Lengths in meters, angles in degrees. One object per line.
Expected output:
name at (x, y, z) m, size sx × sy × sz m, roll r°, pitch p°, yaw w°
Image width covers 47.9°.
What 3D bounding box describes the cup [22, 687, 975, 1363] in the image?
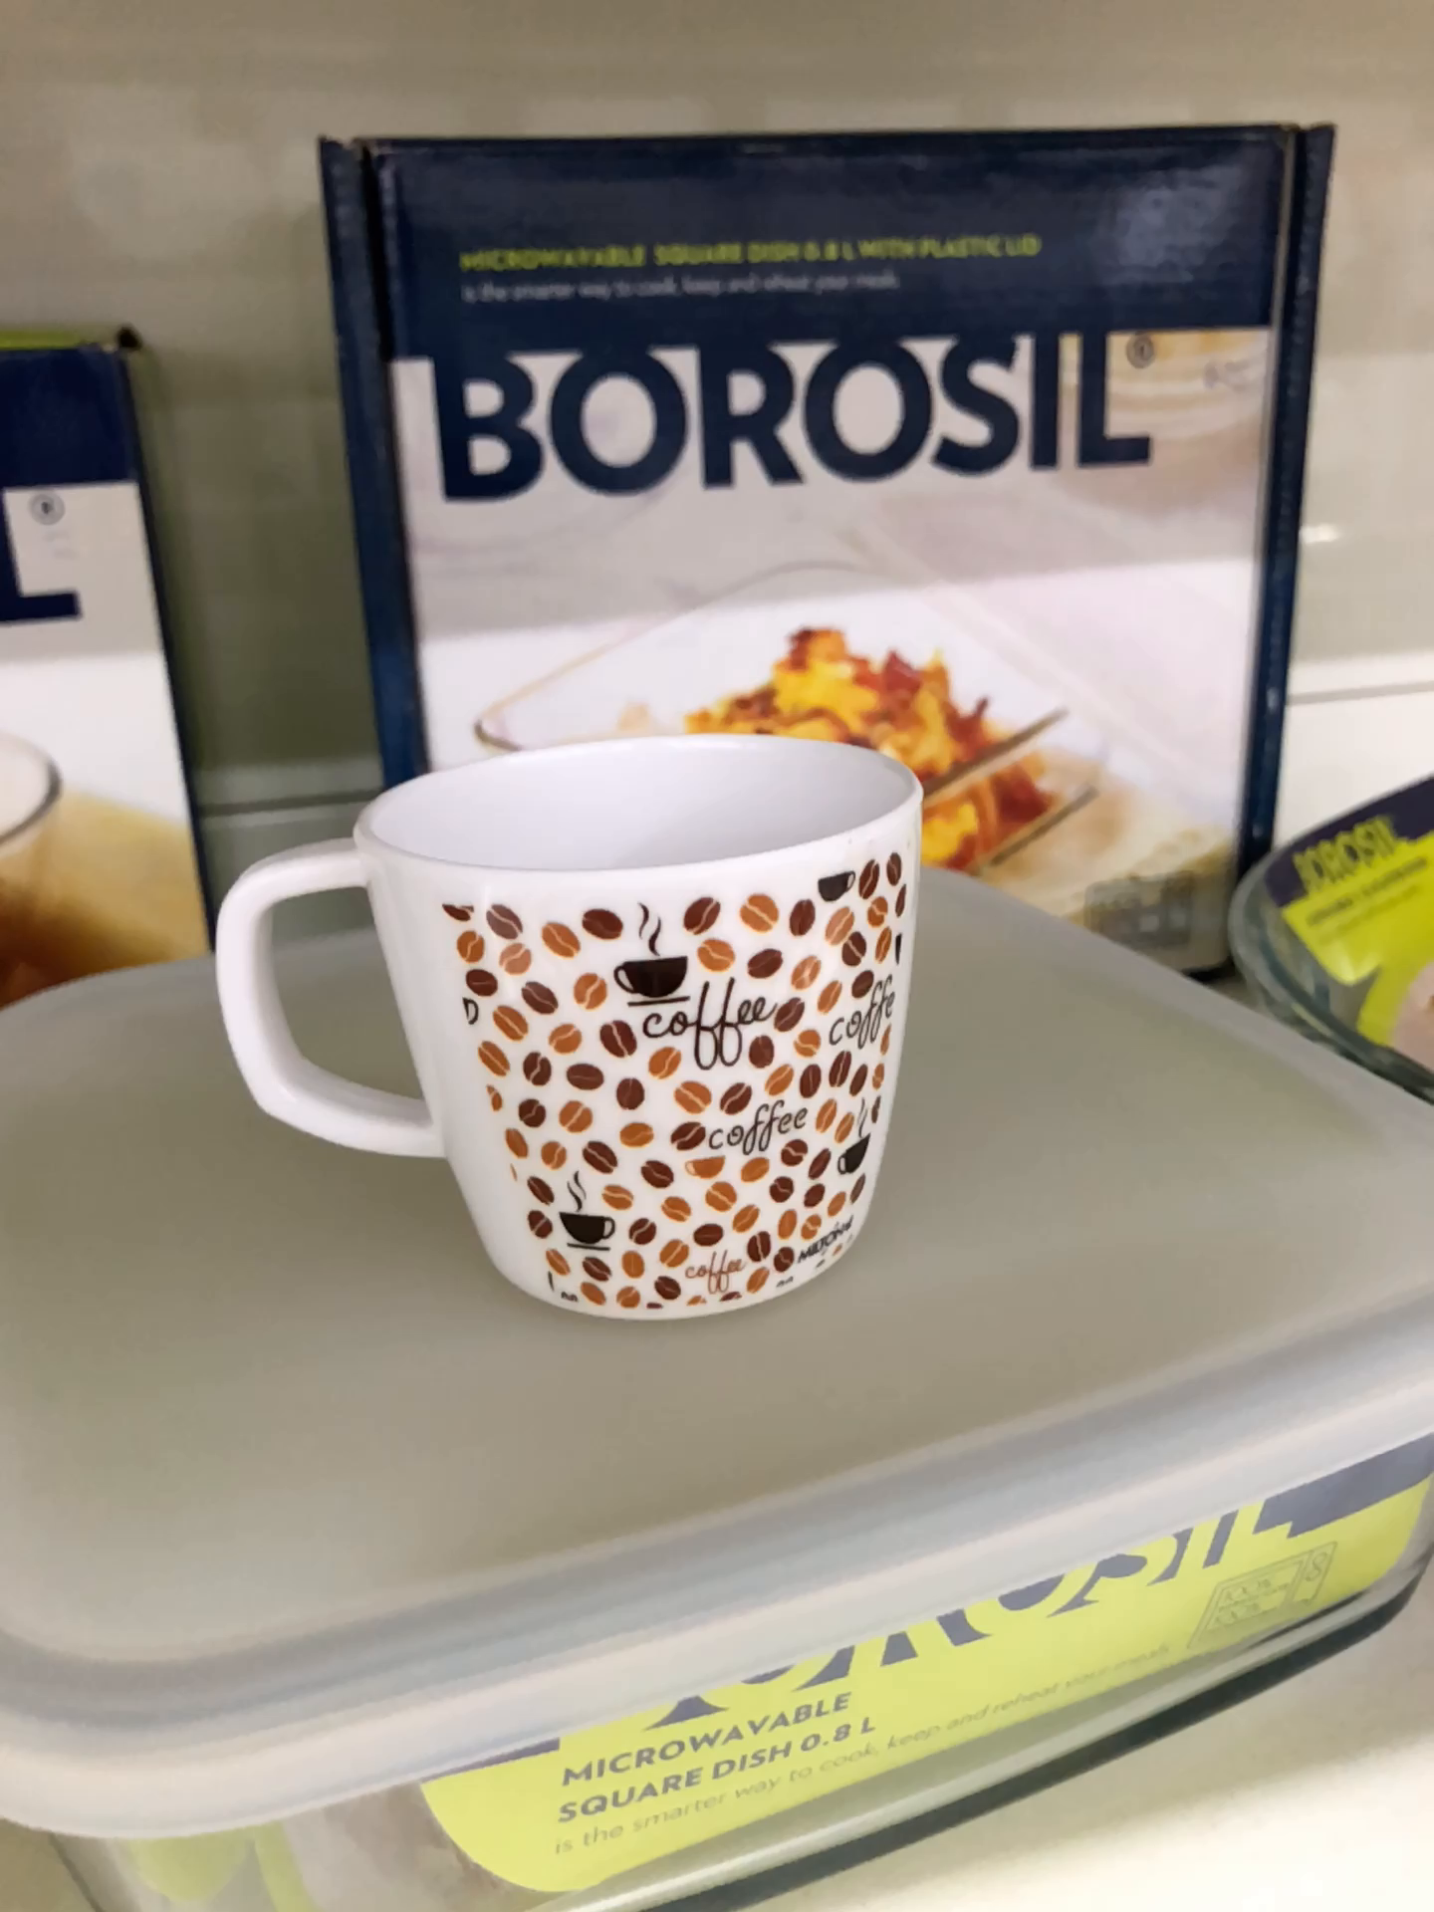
cup at (-0.018, 0.003, 0.173) m, size 0.080 × 0.050 × 0.060 m, roll -3°, pitch 17°, yaw 1°
